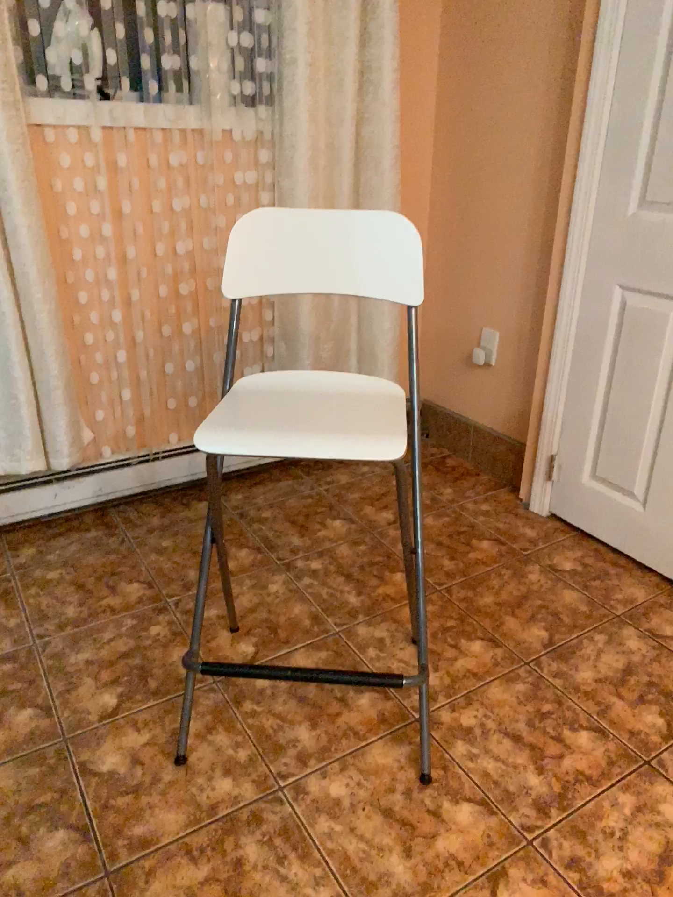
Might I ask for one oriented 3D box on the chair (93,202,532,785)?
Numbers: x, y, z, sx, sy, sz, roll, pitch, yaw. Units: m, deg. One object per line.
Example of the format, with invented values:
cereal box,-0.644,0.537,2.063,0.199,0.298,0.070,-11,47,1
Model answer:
chair,-0.045,0.069,1.380,0.598,1.007,0.545,3,24,1
